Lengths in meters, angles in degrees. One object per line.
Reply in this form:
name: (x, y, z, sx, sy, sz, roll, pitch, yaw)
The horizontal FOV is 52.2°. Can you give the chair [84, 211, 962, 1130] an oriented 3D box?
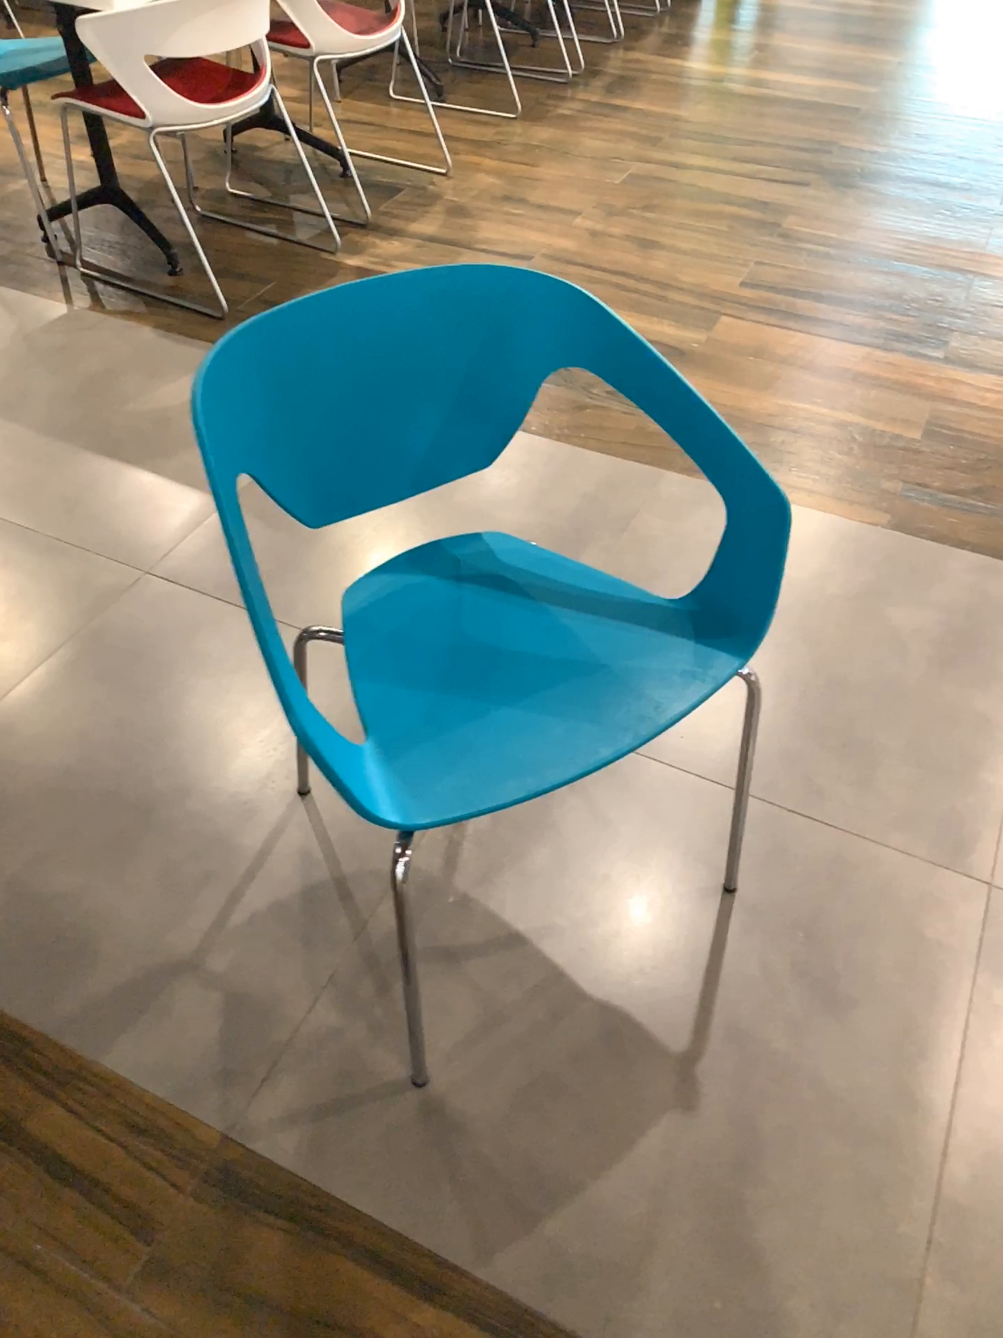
chair: (-0.006, -0.016, 1.226, 0.612, 0.724, 0.594, -24, 50, -22)
